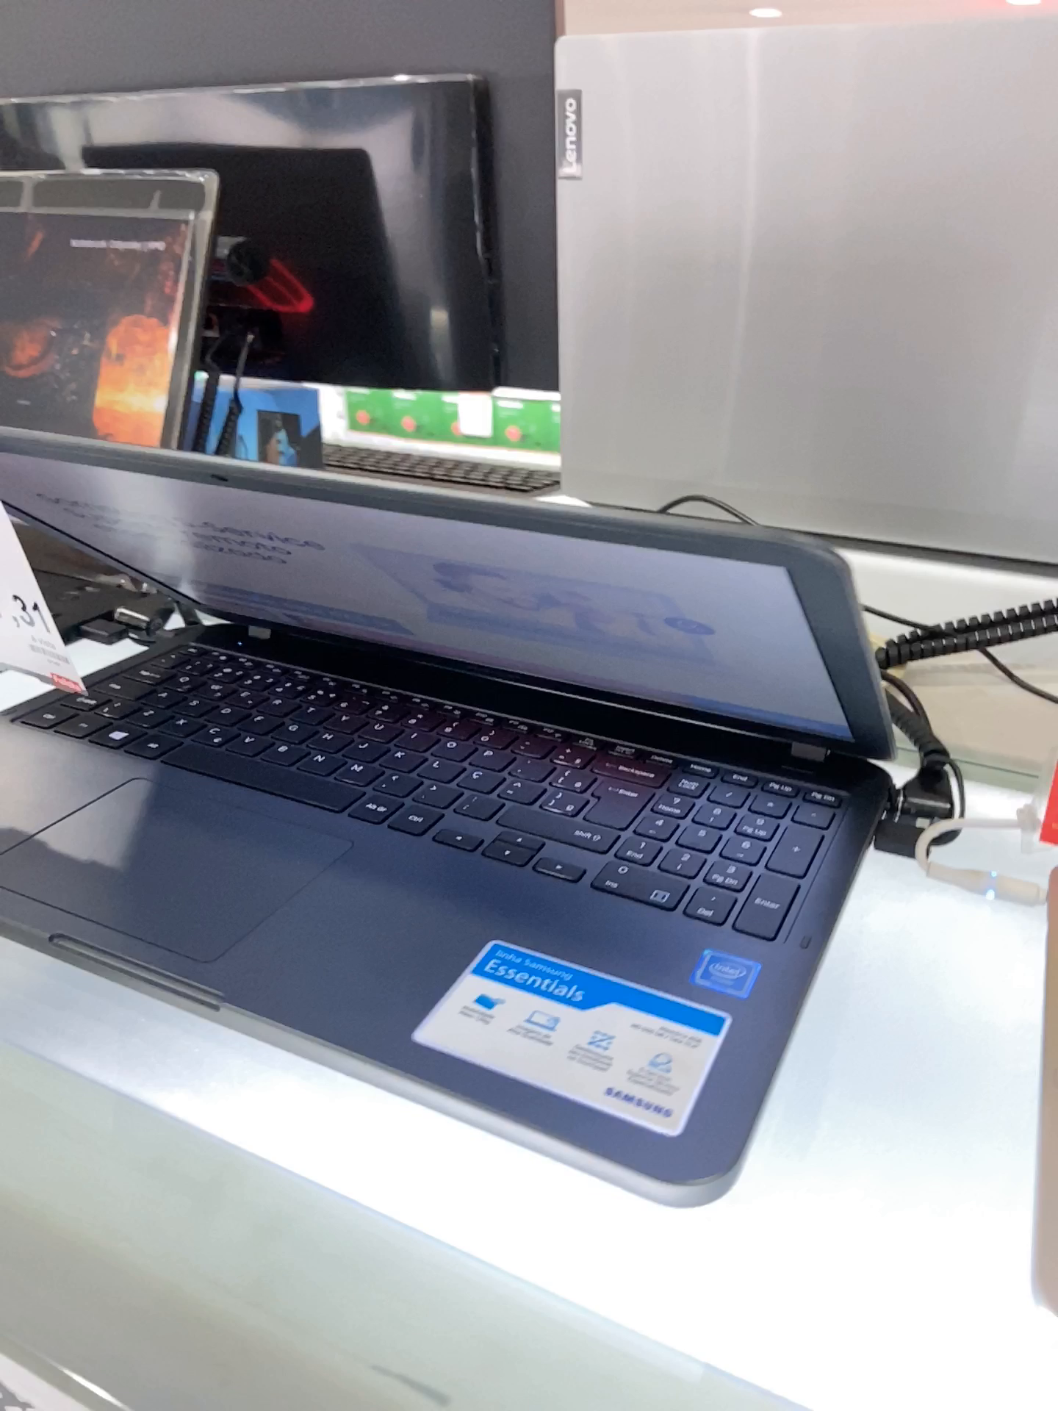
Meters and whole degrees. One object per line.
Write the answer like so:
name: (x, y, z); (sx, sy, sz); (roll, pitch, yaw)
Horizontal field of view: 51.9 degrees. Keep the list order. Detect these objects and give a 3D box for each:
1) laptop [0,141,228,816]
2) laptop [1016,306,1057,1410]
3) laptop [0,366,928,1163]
laptop: (-0.436, -0.181, 0.619); (0.394, 0.223, 0.373); (12, 26, 21)
laptop: (0.320, 0.014, 0.259); (0.315, 0.177, 0.297); (11, 26, 24)
laptop: (-0.069, -0.030, 0.409); (0.367, 0.140, 0.236); (12, 26, 24)
